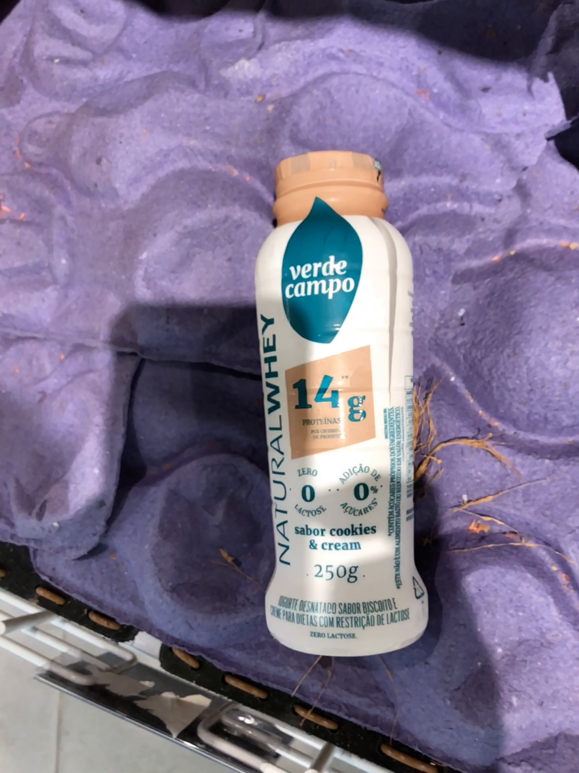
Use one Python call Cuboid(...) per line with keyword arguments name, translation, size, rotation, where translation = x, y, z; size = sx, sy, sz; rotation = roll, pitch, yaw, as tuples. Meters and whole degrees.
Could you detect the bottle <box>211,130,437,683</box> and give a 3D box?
Cuboid(name="bottle", translation=(0.012, 0.006, 0.213), size=(0.060, 0.040, 0.160), rotation=(-3, 88, 8))
